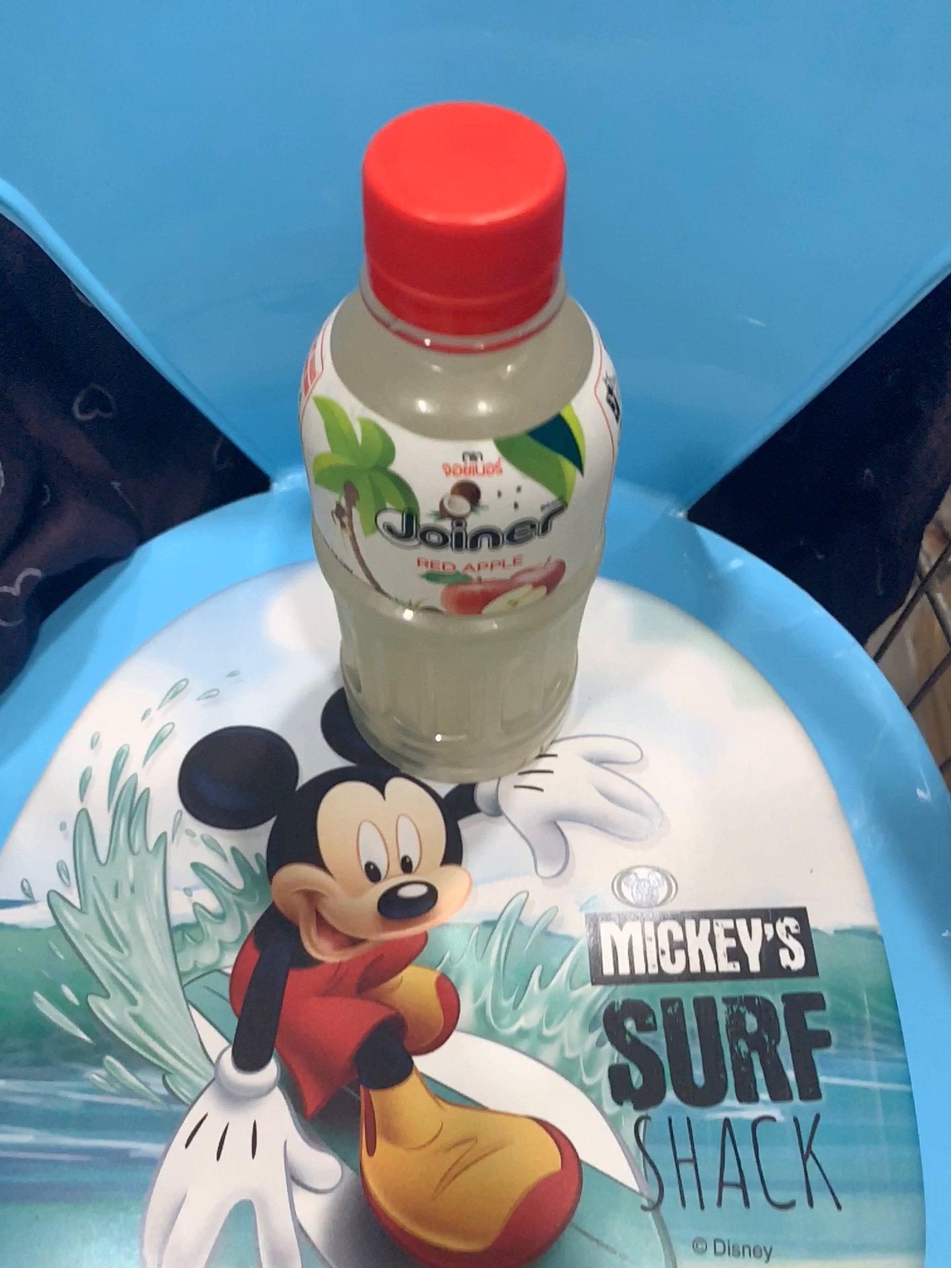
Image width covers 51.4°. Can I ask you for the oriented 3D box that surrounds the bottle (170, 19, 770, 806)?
[{"bbox_3d":[0.000,-0.026,0.194,0.070,0.150,0.060,1,56,1],"label":"bottle"}]
